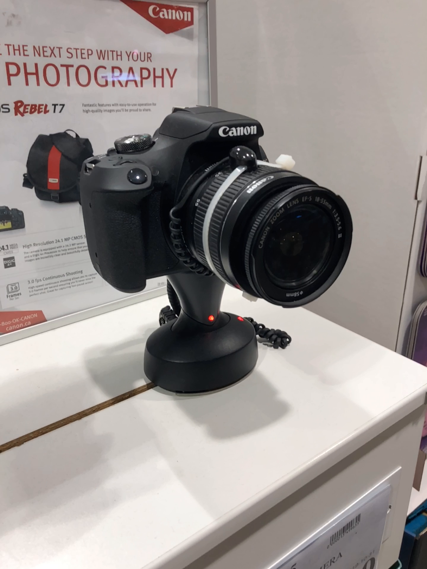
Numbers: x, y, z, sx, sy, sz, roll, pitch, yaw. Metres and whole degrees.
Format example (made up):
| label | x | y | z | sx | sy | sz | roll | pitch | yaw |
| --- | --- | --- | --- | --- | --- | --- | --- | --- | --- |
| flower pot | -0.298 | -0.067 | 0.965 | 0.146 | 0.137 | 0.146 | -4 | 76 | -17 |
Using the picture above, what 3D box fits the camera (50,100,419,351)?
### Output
| label | x | y | z | sx | sy | sz | roll | pitch | yaw |
| --- | --- | --- | --- | --- | --- | --- | --- | --- | --- |
| camera | 0.005 | -0.053 | 0.269 | 0.140 | 0.090 | 0.140 | -16 | 27 | -30 |
